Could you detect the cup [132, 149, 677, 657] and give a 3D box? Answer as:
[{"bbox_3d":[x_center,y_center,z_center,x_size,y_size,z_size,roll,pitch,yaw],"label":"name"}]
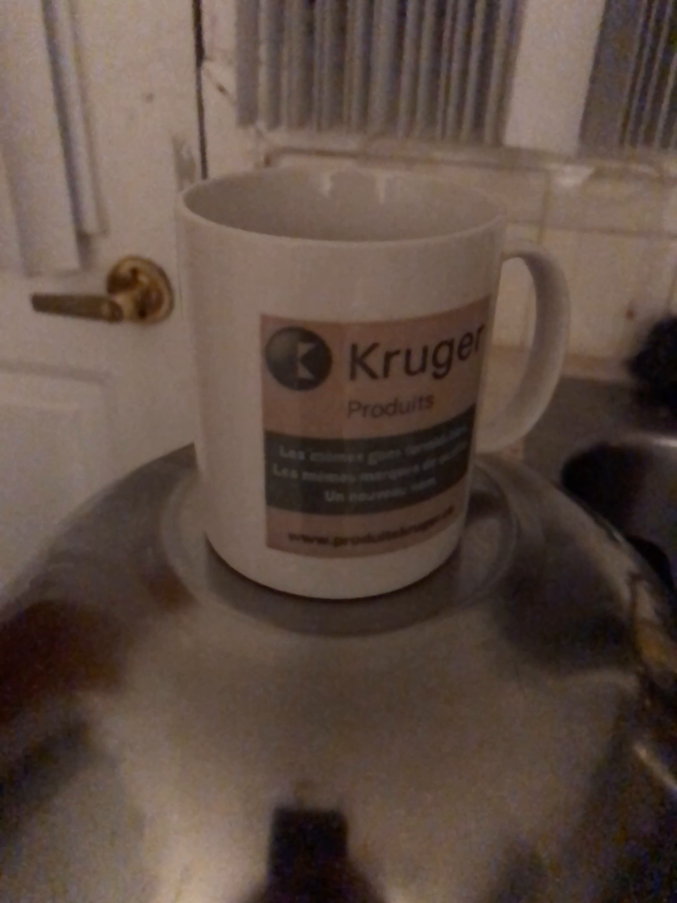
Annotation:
[{"bbox_3d":[0.010,-0.023,0.228,0.120,0.109,0.091,-8,32,-17],"label":"cup"}]
